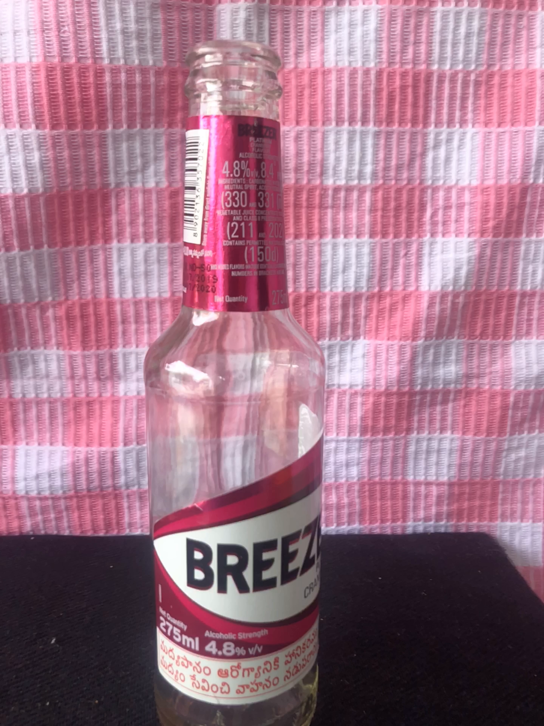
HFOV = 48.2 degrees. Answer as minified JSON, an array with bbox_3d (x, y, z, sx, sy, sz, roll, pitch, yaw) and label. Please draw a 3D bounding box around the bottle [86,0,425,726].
[{"bbox_3d":[-0.011,0.023,0.171,0.060,0.209,0.060,2,14,-1],"label":"bottle"}]
